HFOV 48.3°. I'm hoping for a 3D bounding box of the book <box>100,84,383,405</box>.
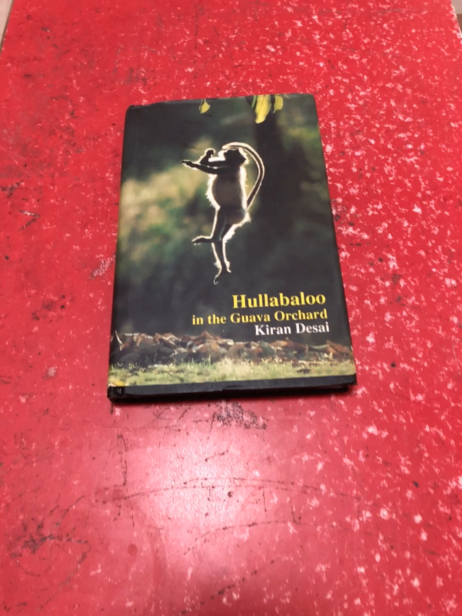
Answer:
[{"bbox_3d":[0.001,-0.055,0.354,0.160,0.030,0.230,-3,65,1],"label":"book"}]
